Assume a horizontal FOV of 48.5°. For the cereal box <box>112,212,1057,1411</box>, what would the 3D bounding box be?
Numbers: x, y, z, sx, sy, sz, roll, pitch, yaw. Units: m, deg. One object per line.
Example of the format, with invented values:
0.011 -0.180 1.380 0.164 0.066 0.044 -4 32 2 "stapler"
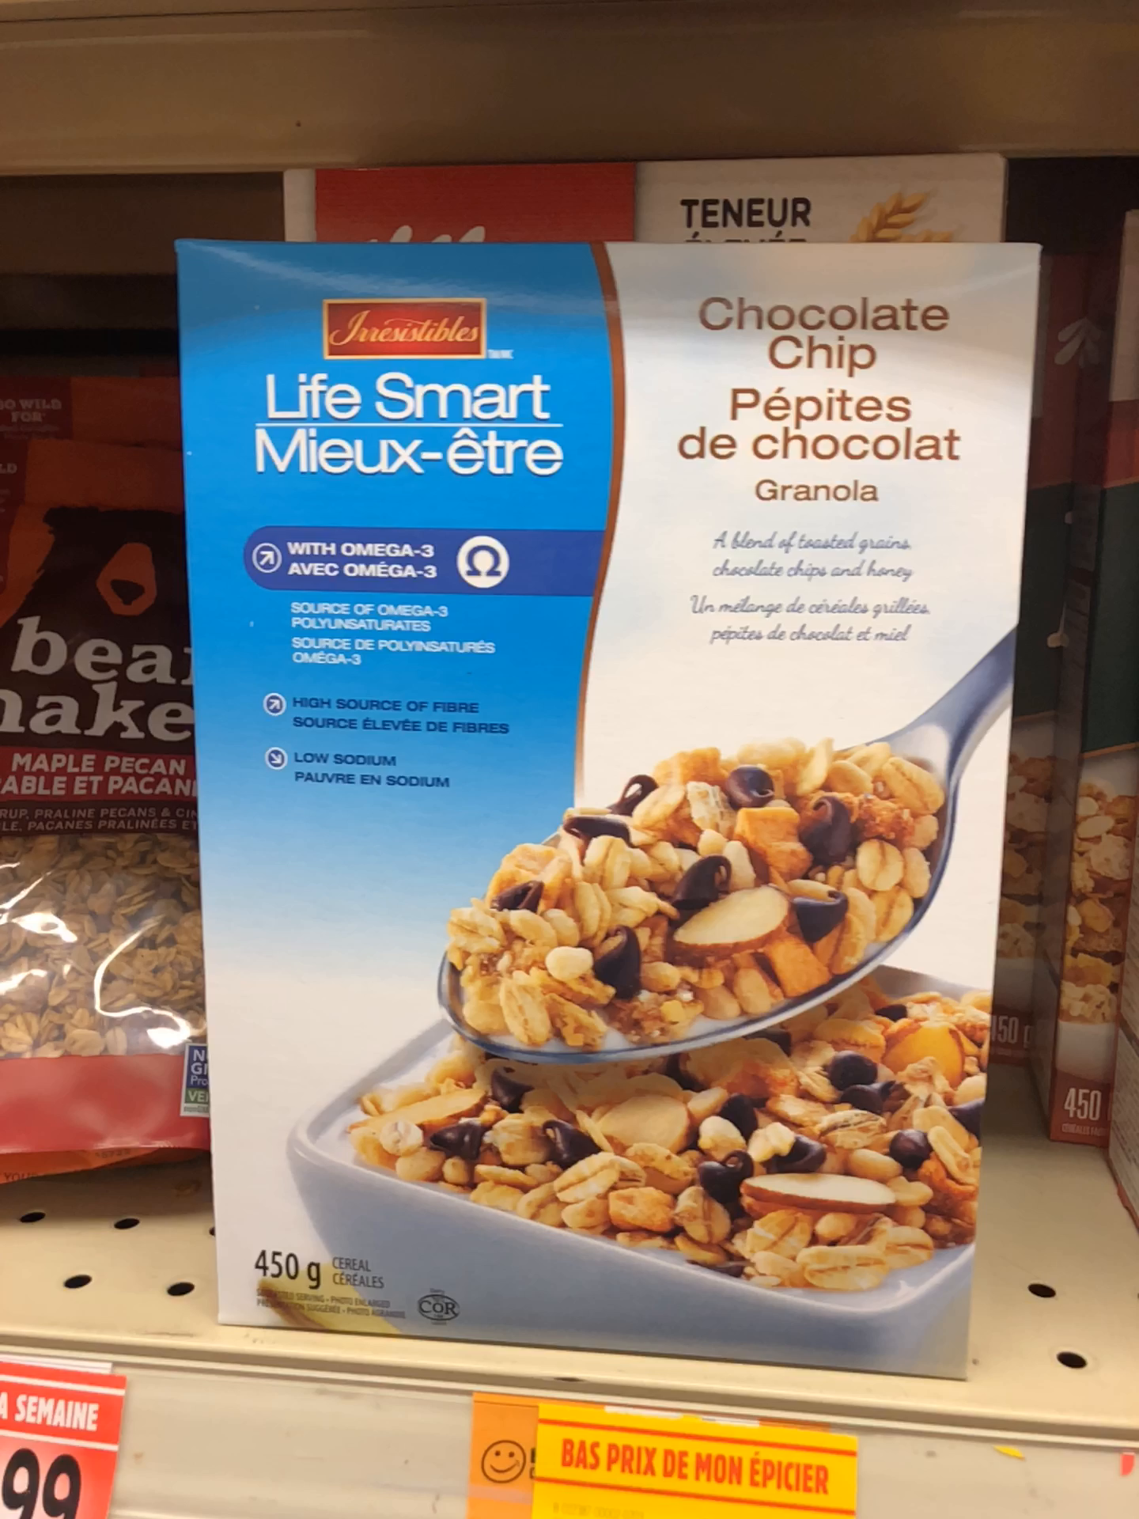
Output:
0.000 0.011 0.281 0.180 0.239 0.050 2 8 4 "cereal box"
